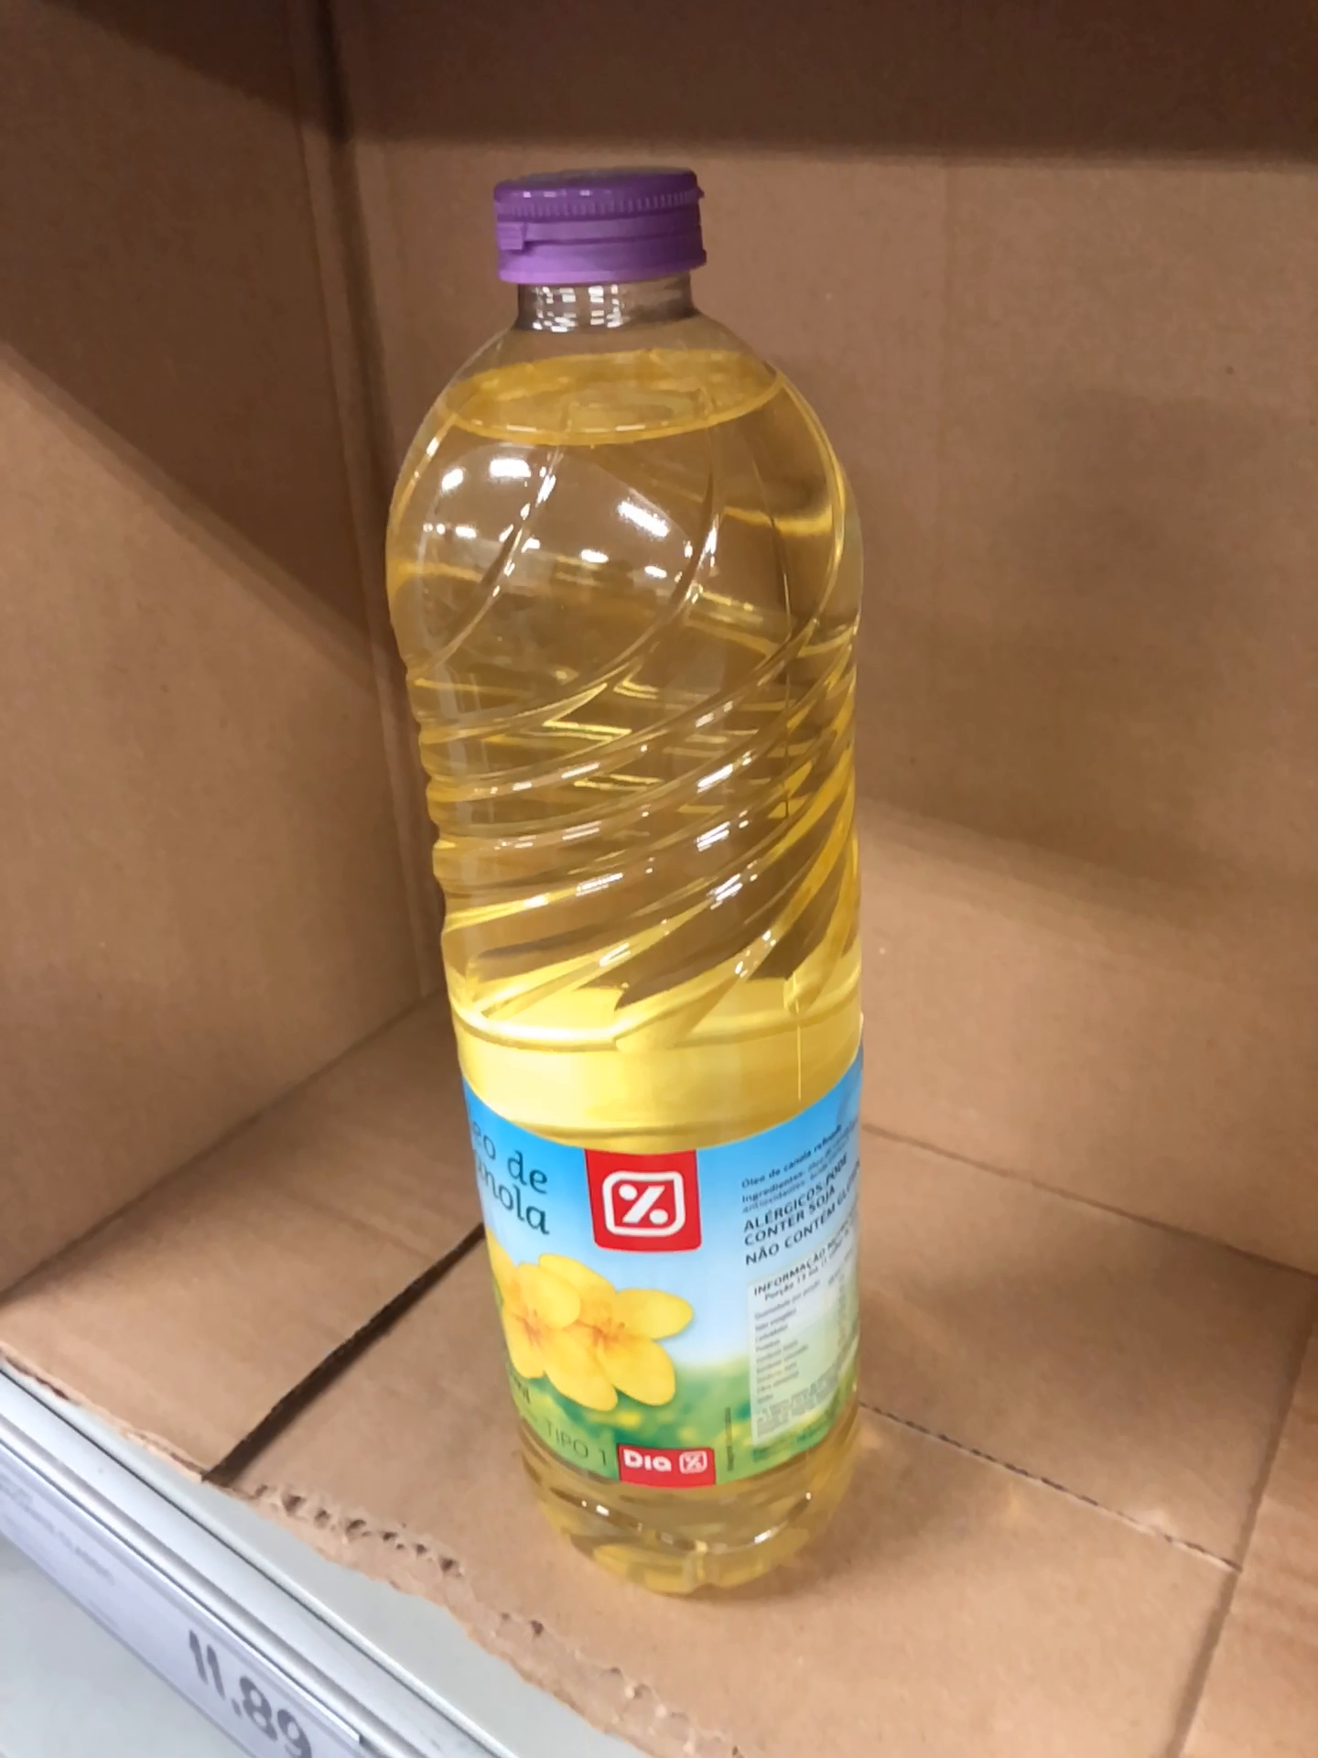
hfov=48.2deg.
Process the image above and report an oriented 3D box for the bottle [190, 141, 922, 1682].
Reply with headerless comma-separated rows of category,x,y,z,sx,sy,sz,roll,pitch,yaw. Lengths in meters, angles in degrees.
bottle,-0.004,0.023,0.258,0.080,0.268,0.050,15,37,29
